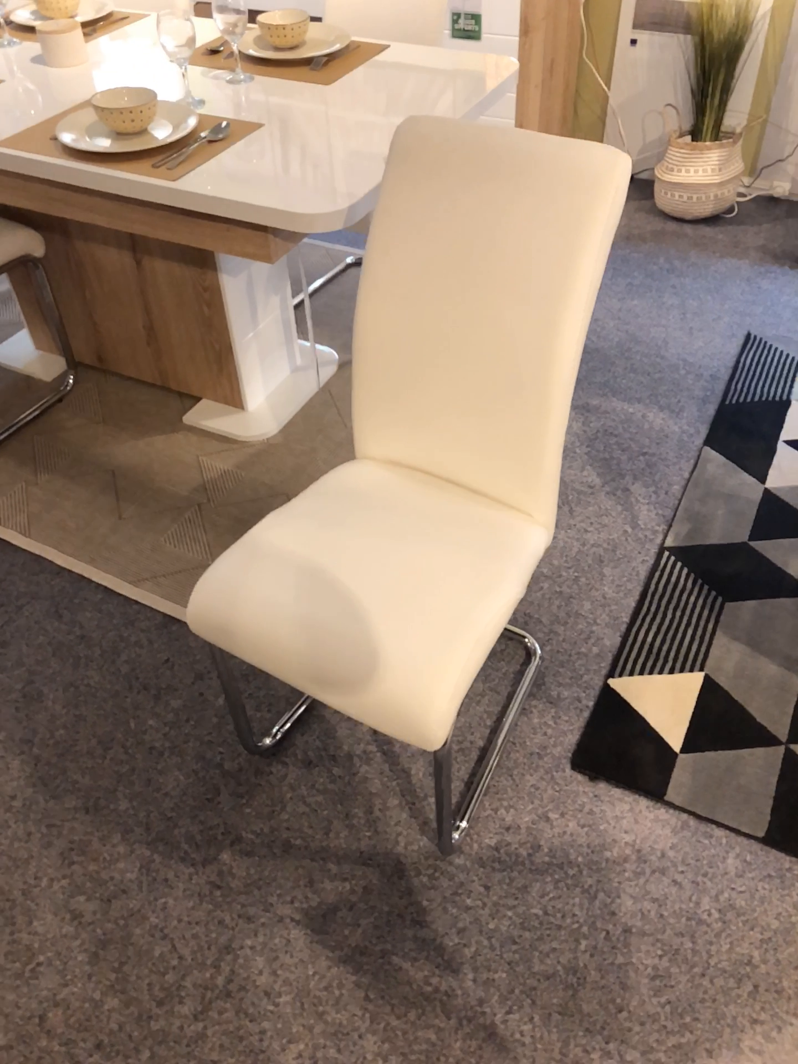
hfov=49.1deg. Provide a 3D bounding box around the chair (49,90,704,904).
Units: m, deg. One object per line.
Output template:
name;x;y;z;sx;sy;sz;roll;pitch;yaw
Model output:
chair;0.024;-0.025;1.253;0.500;0.925;0.553;18;47;21
